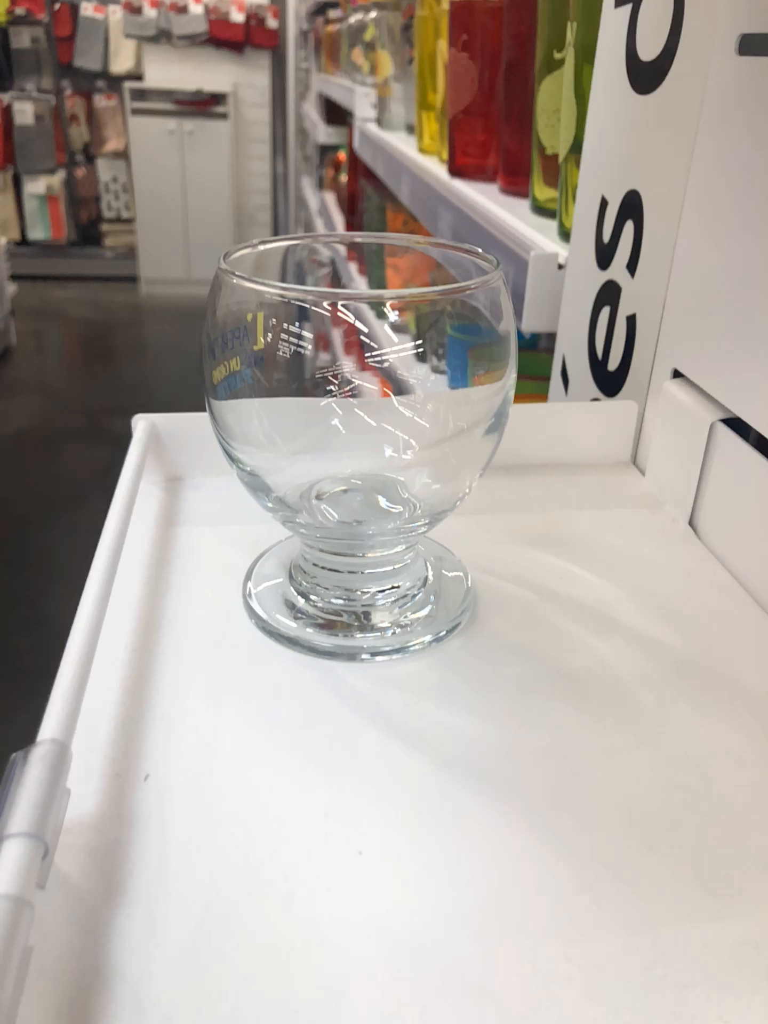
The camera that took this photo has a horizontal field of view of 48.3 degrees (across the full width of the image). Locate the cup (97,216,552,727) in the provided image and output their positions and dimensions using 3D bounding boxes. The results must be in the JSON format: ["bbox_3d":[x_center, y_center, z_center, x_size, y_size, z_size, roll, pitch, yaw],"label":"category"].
[{"bbox_3d":[-0.010,-0.016,0.213,0.078,0.093,0.074,2,27,-1],"label":"cup"}]
